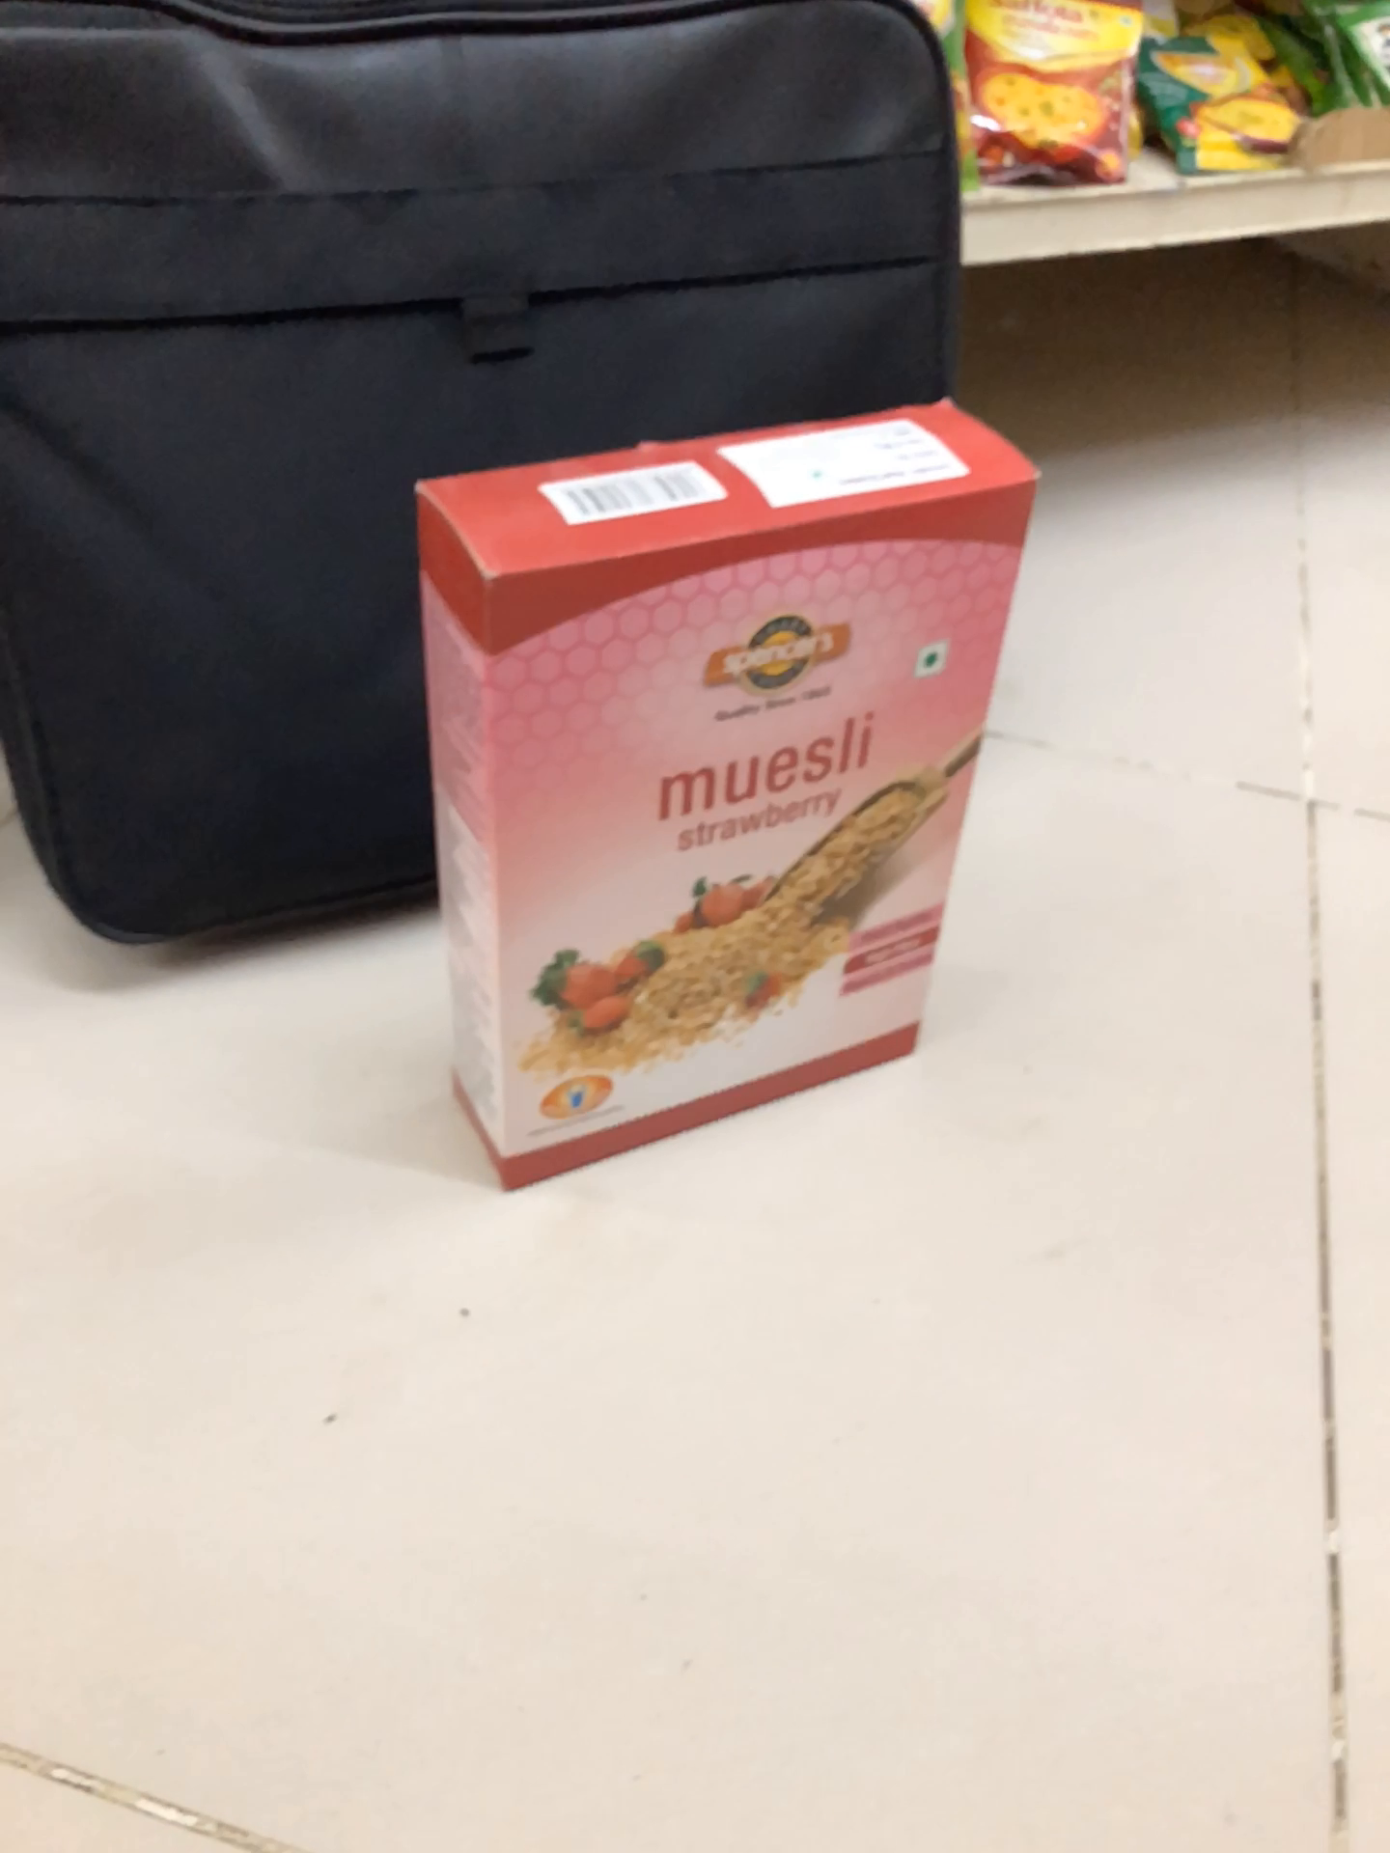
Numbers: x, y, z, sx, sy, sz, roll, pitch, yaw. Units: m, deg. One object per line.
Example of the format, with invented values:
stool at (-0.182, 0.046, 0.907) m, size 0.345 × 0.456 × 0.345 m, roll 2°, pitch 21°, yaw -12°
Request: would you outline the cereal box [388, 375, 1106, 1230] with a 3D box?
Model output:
cereal box at (0.012, -0.035, 0.522) m, size 0.201 × 0.258 × 0.060 m, roll -16°, pitch 44°, yaw -22°
